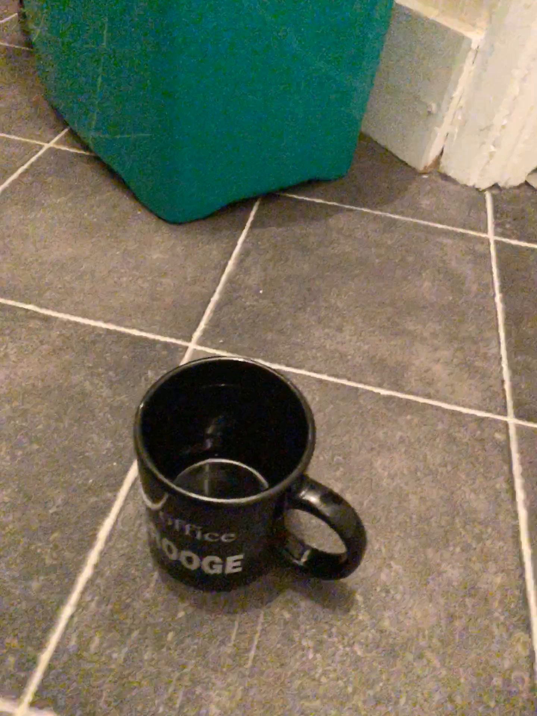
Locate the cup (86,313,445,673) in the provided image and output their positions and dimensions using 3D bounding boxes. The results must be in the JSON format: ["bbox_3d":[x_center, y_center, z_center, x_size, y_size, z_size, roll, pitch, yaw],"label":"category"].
[{"bbox_3d":[-0.002,0.064,0.274,0.130,0.099,0.091,23,47,13],"label":"cup"}]
